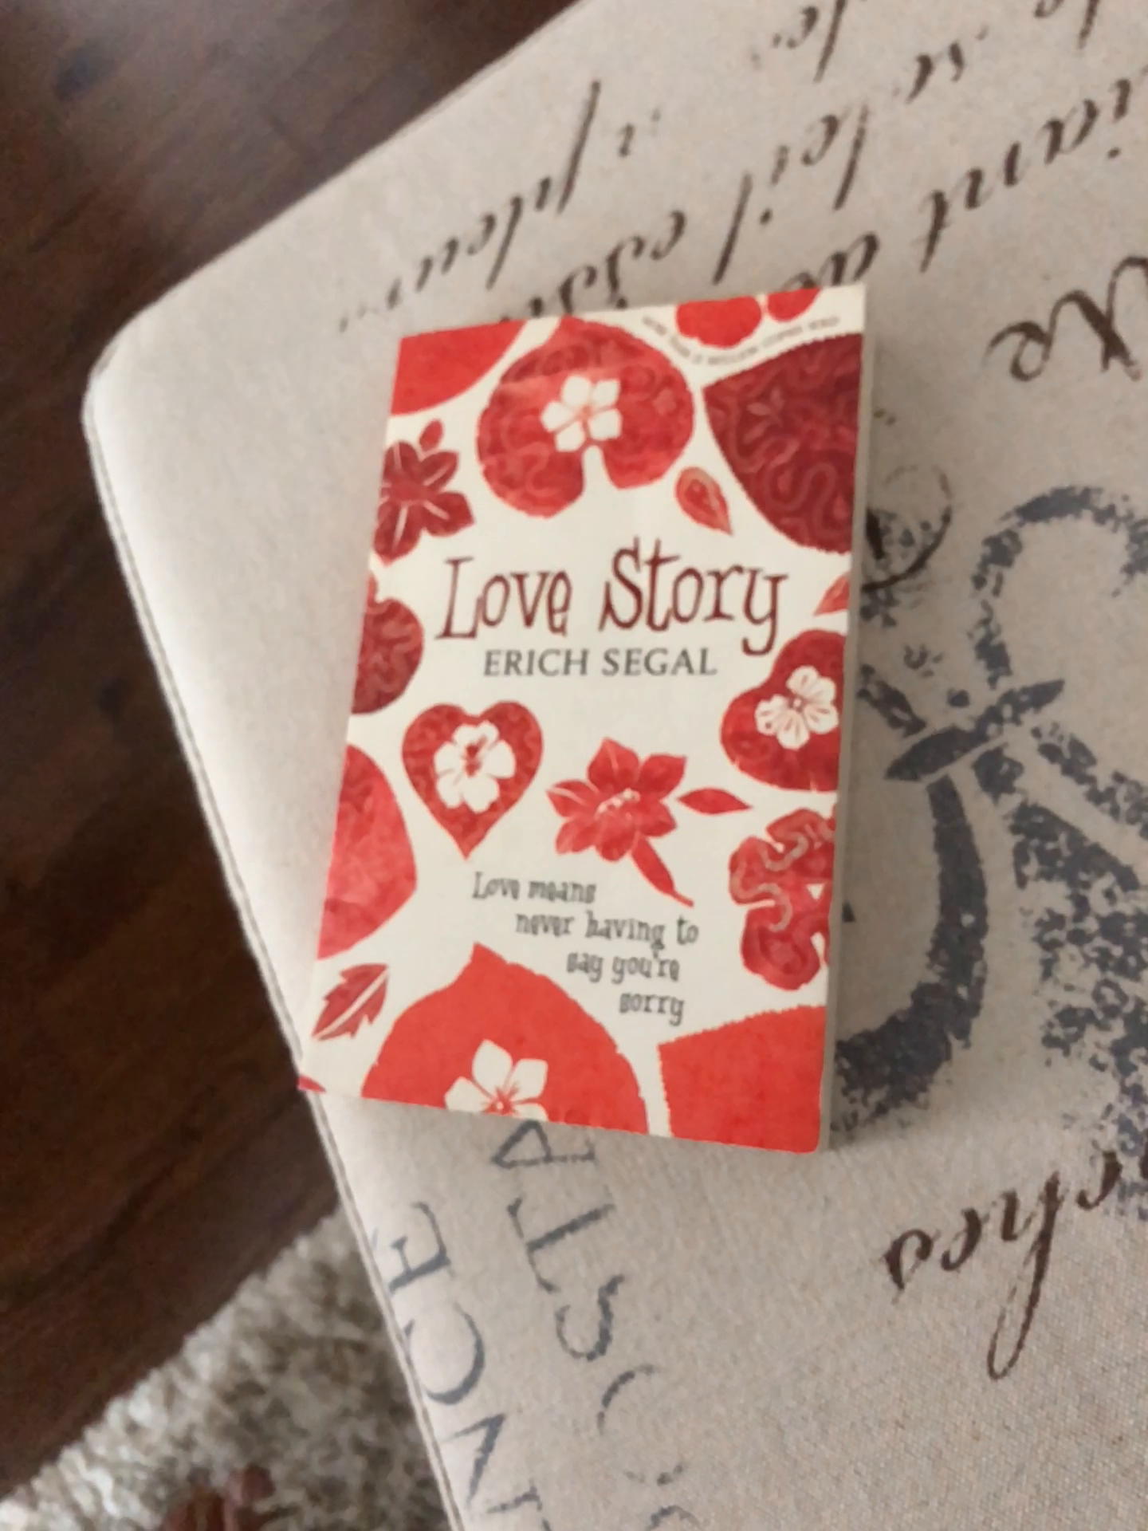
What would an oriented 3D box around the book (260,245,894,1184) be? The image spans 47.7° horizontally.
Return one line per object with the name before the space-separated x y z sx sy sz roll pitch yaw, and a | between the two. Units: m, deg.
book | 0.003 -0.016 0.279 0.120 0.020 0.188 1 77 19
